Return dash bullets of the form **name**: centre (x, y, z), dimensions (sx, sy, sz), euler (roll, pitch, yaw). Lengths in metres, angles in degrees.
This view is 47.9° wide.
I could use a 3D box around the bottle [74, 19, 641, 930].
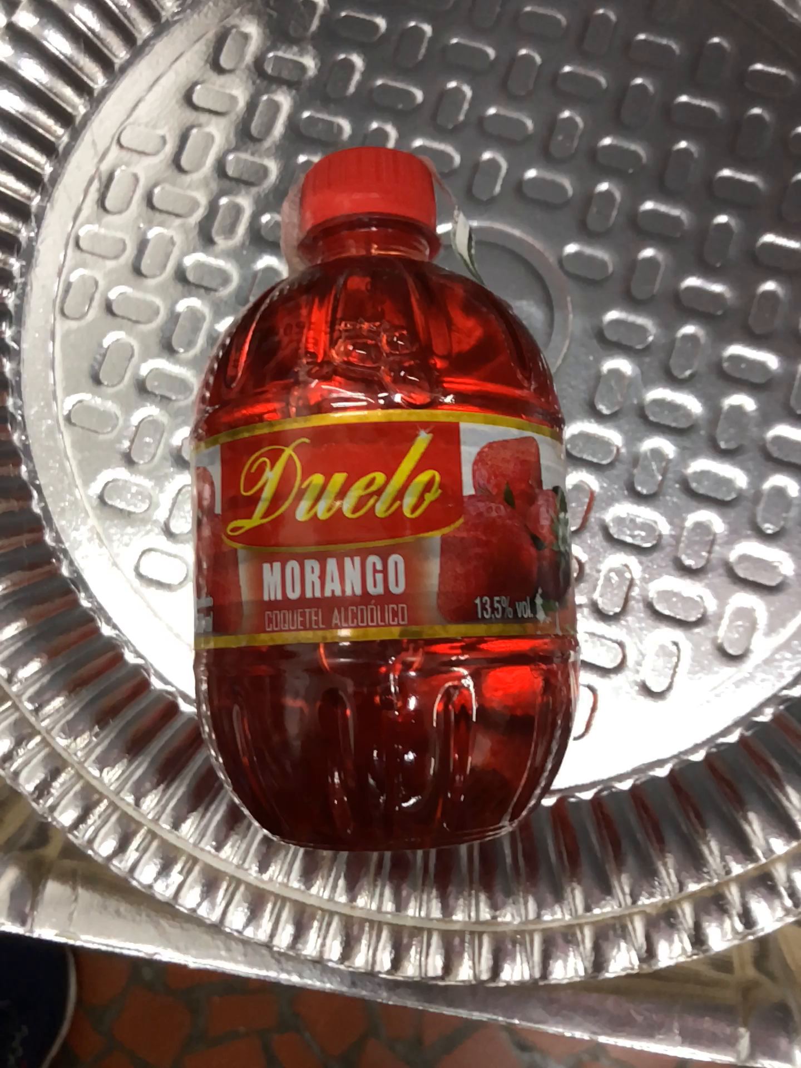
- **bottle**: centre (-0.008, -0.009, 0.186), dimensions (0.090, 0.070, 0.150), euler (-3, 84, 4)
